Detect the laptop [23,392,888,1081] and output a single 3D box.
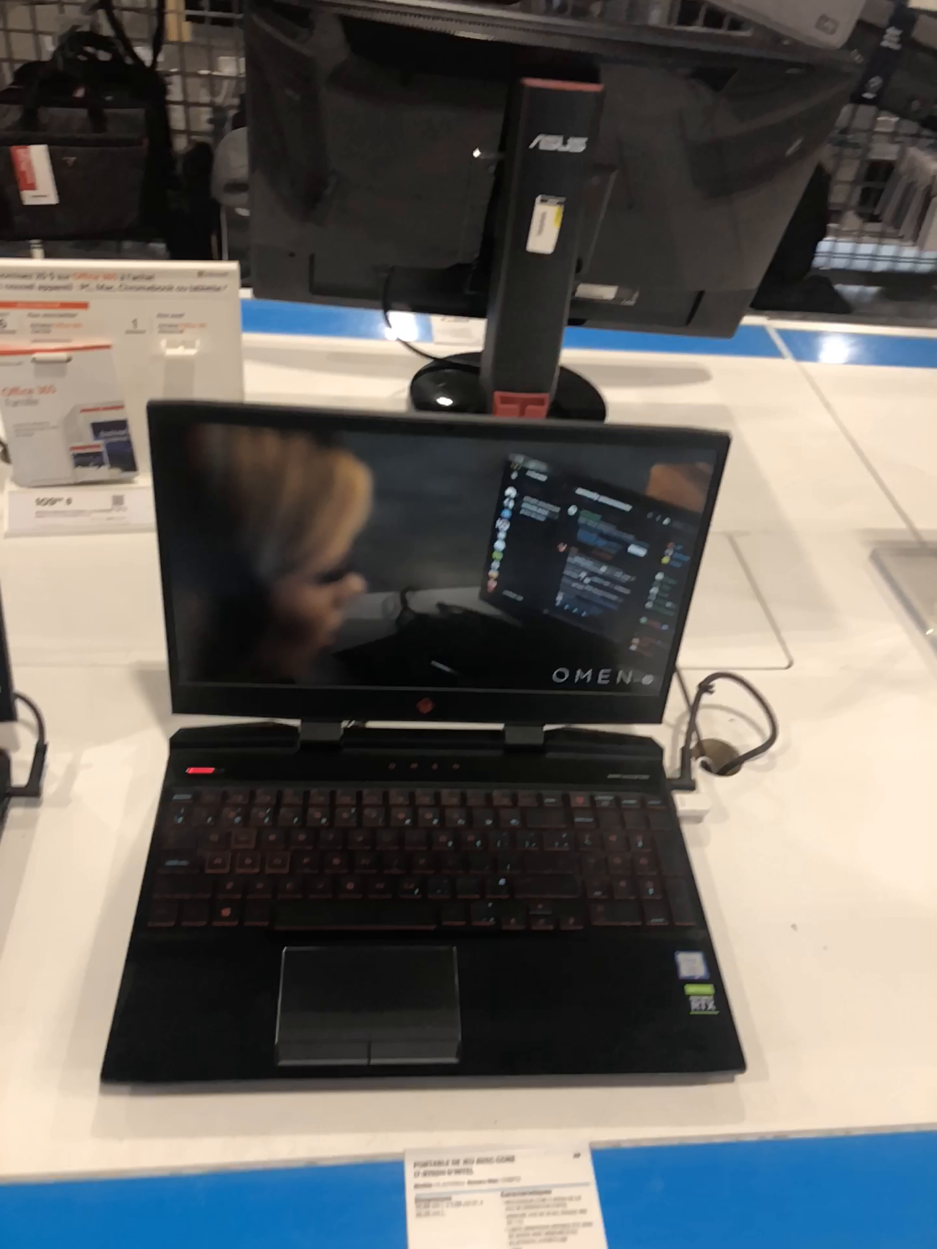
[{"bbox_3d":[-0.016,0.057,0.603,0.355,0.239,0.294,1,42,-7],"label":"laptop"}]
